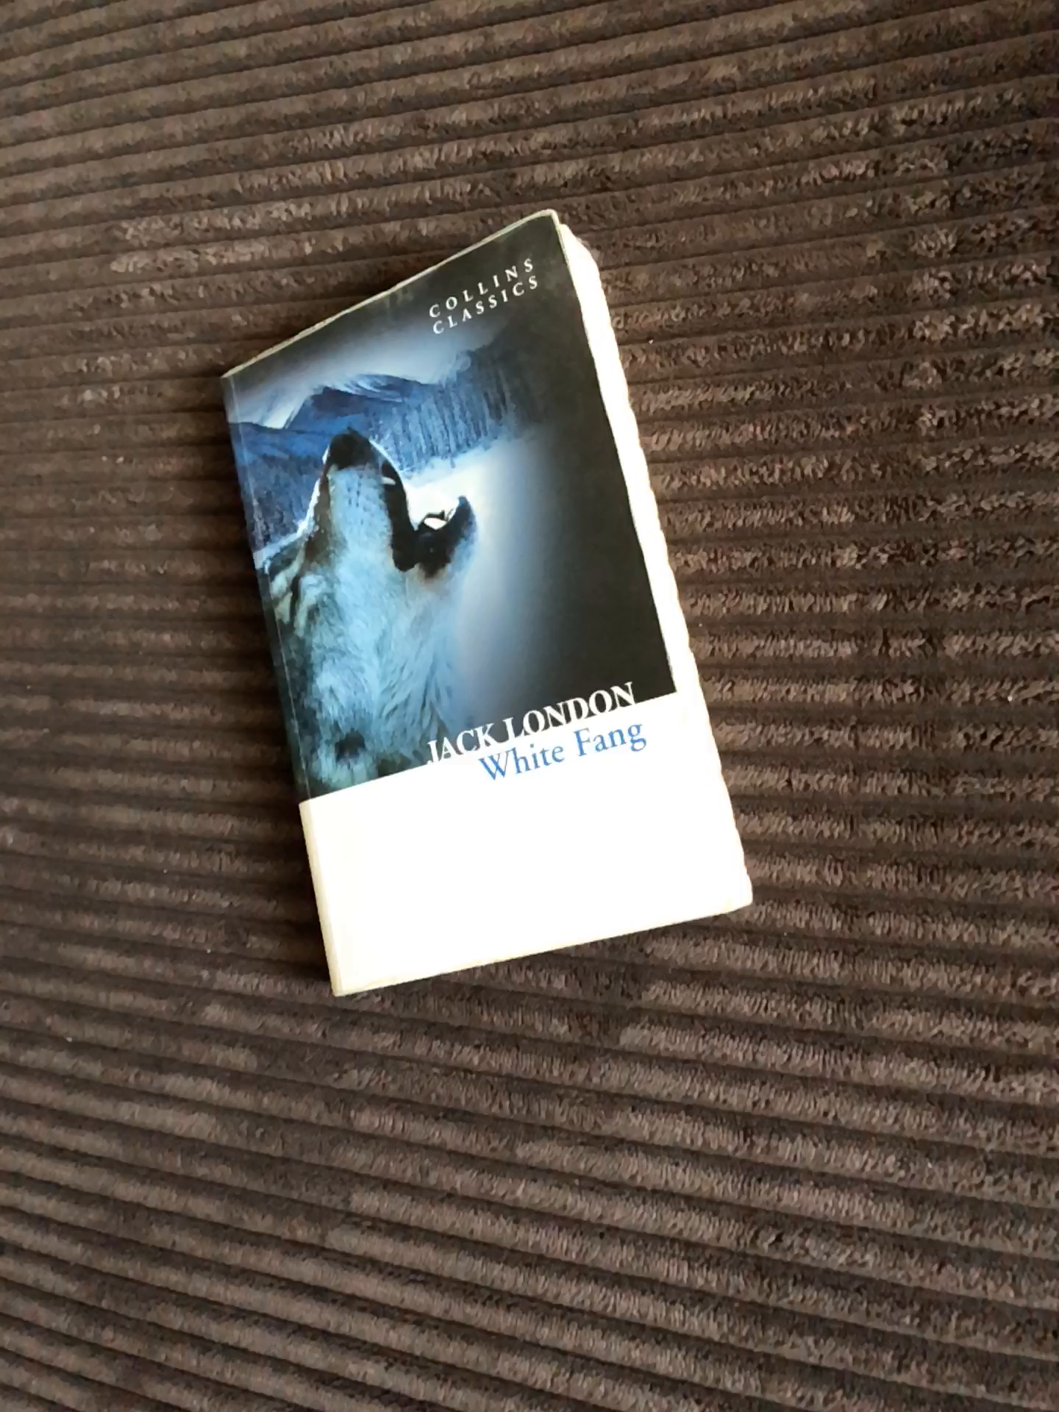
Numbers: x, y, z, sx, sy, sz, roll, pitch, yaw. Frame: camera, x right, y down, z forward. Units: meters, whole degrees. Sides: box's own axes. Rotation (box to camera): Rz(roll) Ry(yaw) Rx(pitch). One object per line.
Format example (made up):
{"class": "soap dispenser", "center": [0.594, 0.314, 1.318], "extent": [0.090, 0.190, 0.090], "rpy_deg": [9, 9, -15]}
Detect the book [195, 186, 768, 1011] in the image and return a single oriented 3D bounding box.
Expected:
{"class": "book", "center": [-0.018, -0.021, 0.302], "extent": [0.114, 0.030, 0.178], "rpy_deg": [-16, 82, 27]}
